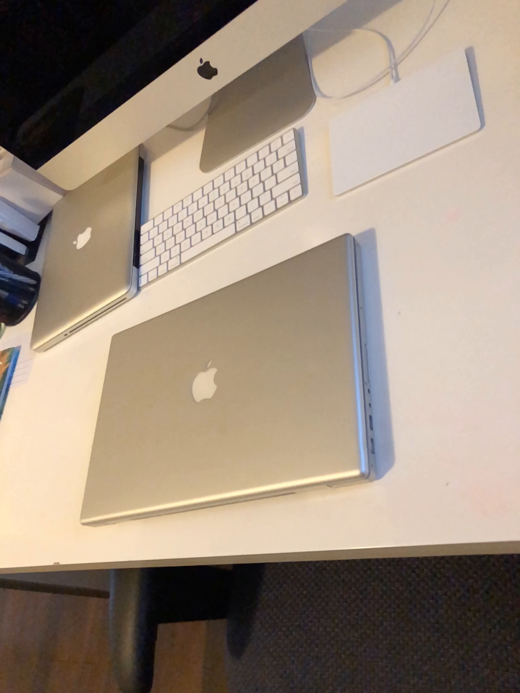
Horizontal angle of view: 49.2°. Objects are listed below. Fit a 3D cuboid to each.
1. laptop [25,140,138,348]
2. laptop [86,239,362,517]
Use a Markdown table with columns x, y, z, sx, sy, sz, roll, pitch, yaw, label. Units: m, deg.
| x | y | z | sx | sy | sz | roll | pitch | yaw | label |
| --- | --- | --- | --- | --- | --- | --- | --- | --- | --- |
| -0.275 | -0.164 | 0.886 | 0.201 | 0.009 | 0.279 | -23 | 55 | 27 | laptop |
| -0.052 | 0.043 | 0.578 | 0.333 | 0.005 | 0.215 | -19 | 57 | 33 | laptop |
